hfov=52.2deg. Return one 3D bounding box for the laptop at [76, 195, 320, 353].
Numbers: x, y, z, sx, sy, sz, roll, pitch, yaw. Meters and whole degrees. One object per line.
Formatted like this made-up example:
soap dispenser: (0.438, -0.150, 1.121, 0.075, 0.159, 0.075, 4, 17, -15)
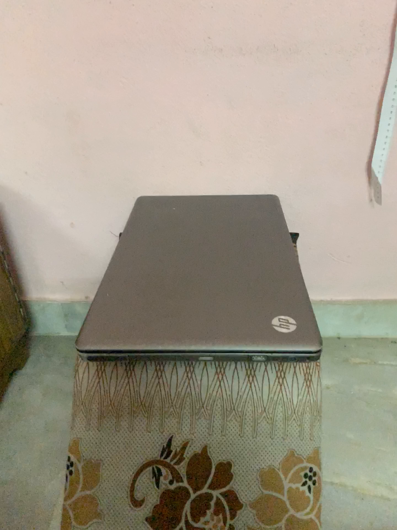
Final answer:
laptop: (0.007, -0.018, 0.571, 0.249, 0.002, 0.381, 0, 34, 3)
